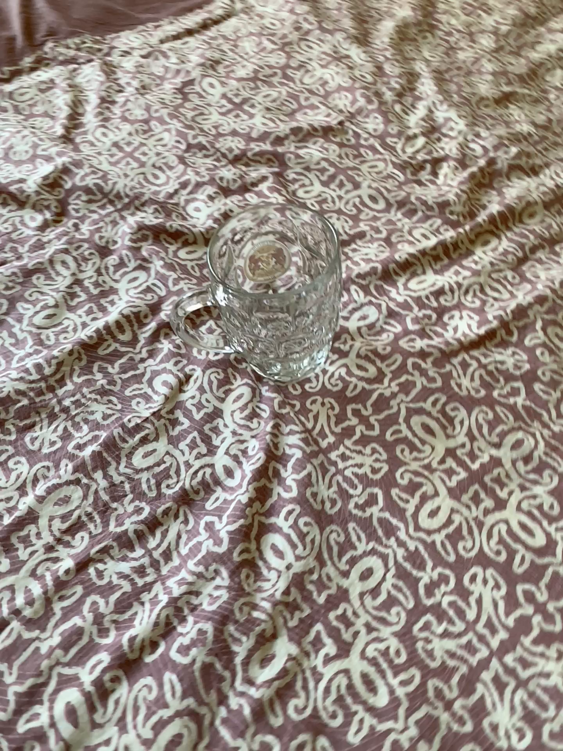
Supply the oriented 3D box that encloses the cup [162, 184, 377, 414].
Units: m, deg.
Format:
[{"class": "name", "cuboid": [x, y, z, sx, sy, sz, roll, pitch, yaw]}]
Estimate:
[{"class": "cup", "cuboid": [-0.007, -0.054, 0.417, 0.117, 0.099, 0.093, -19, 56, -7]}]
